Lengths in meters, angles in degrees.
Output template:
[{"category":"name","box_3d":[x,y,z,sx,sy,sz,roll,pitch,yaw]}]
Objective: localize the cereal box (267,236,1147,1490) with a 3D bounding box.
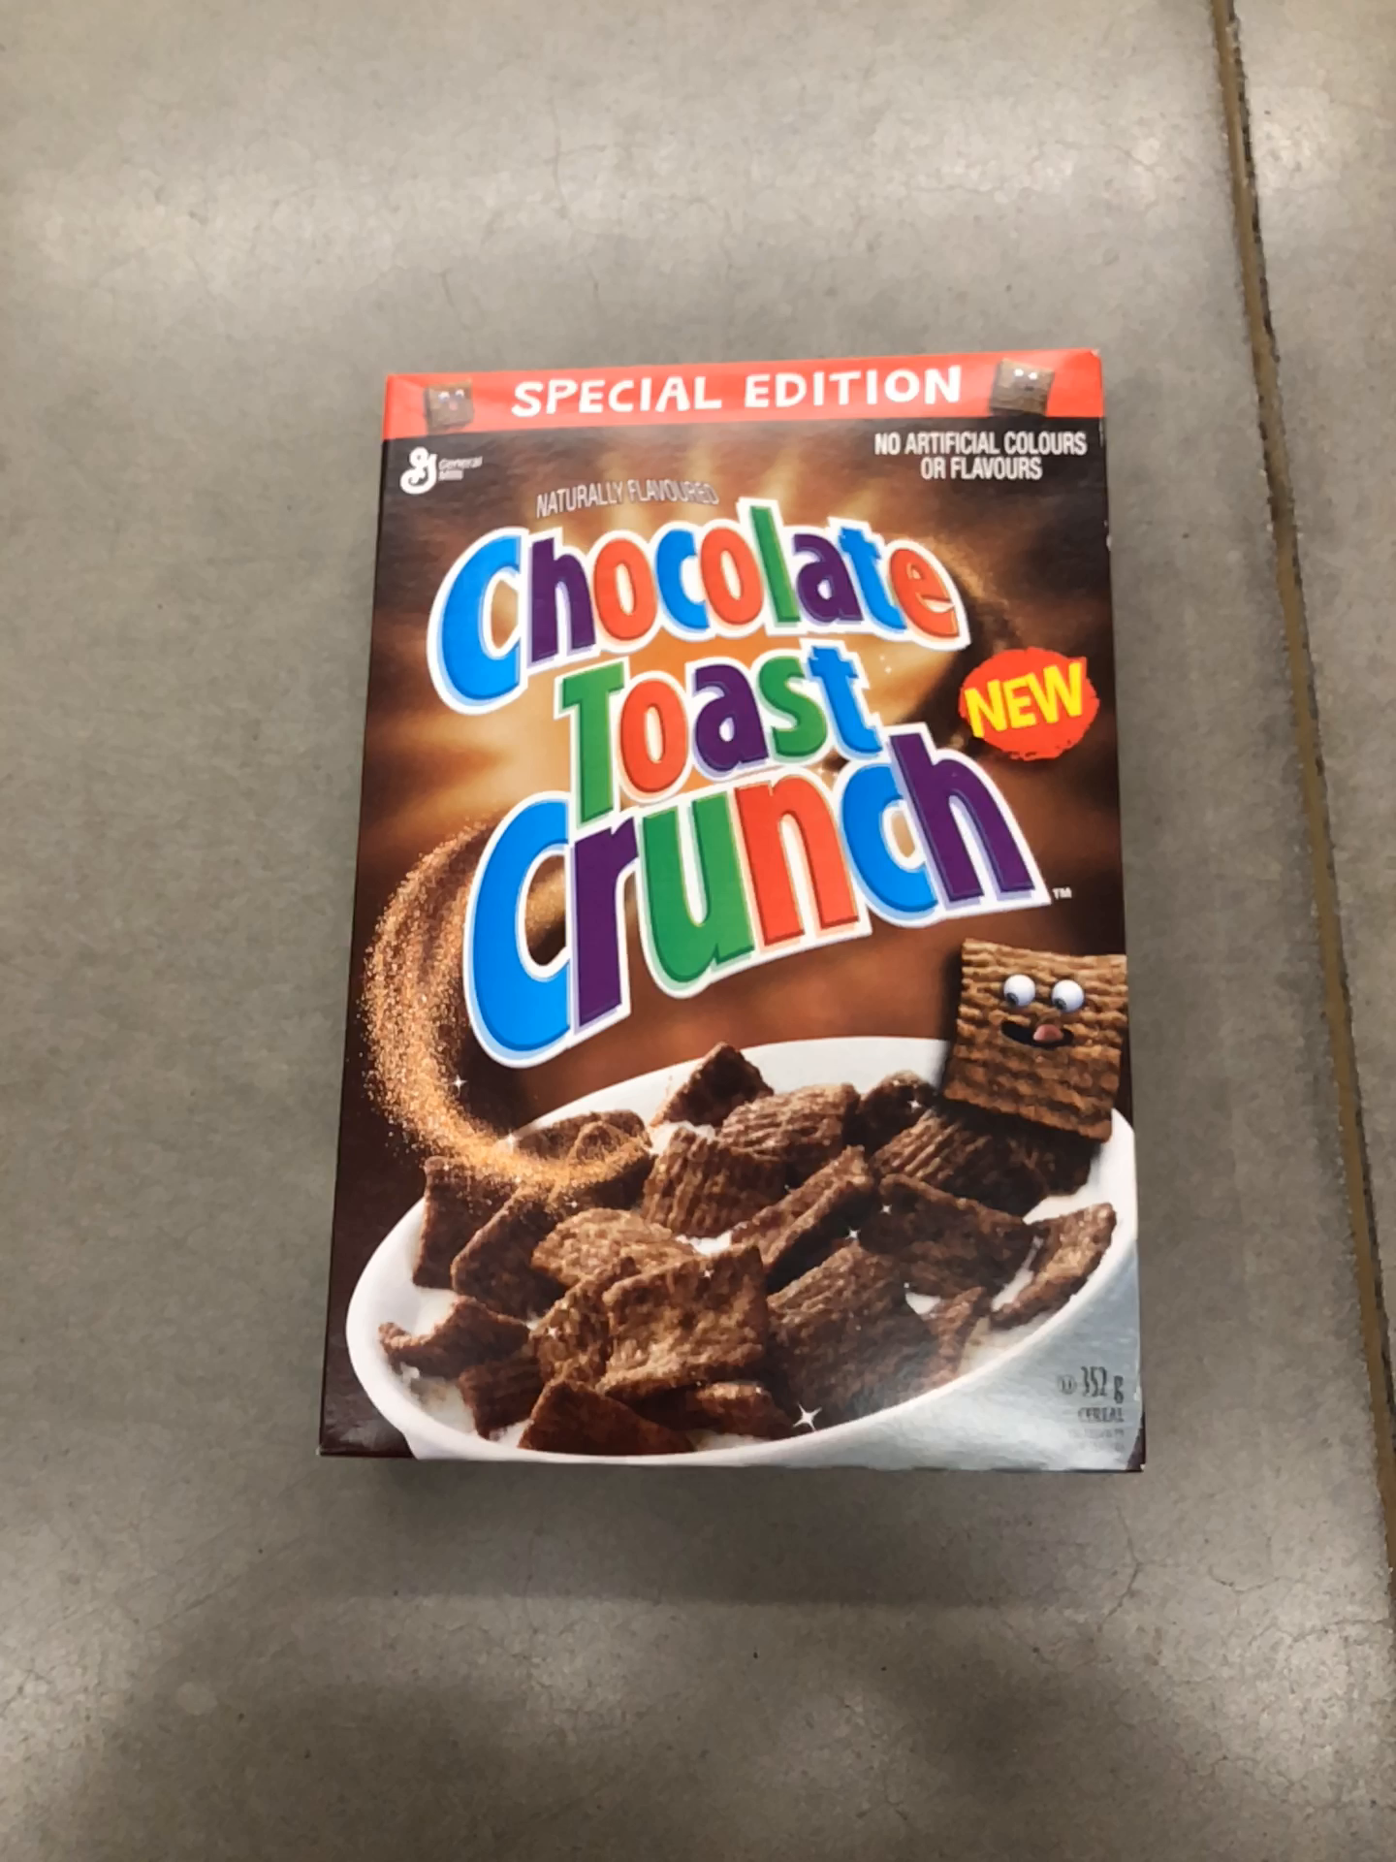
[{"category":"cereal box","box_3d":[0.002,-0.022,0.406,0.190,0.070,0.310,-1,75,4]}]
